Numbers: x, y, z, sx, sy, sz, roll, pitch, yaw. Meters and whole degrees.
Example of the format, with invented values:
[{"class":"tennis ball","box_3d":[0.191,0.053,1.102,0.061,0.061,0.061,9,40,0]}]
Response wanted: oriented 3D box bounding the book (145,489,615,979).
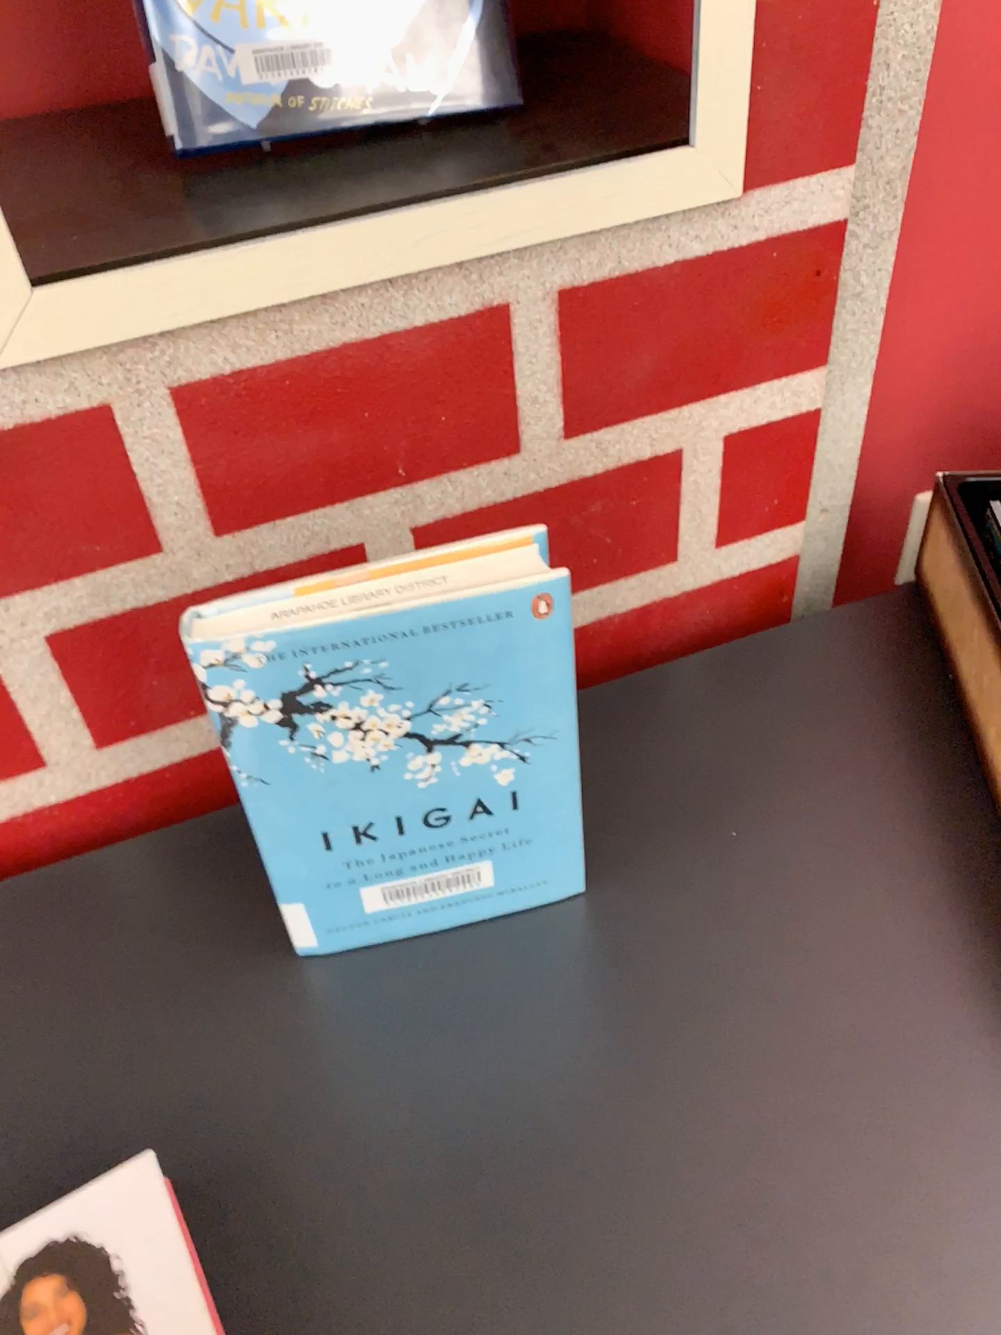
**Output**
[{"class":"book","box_3d":[-0.033,0.037,0.410,0.150,0.199,0.040,-11,43,-6]}]
